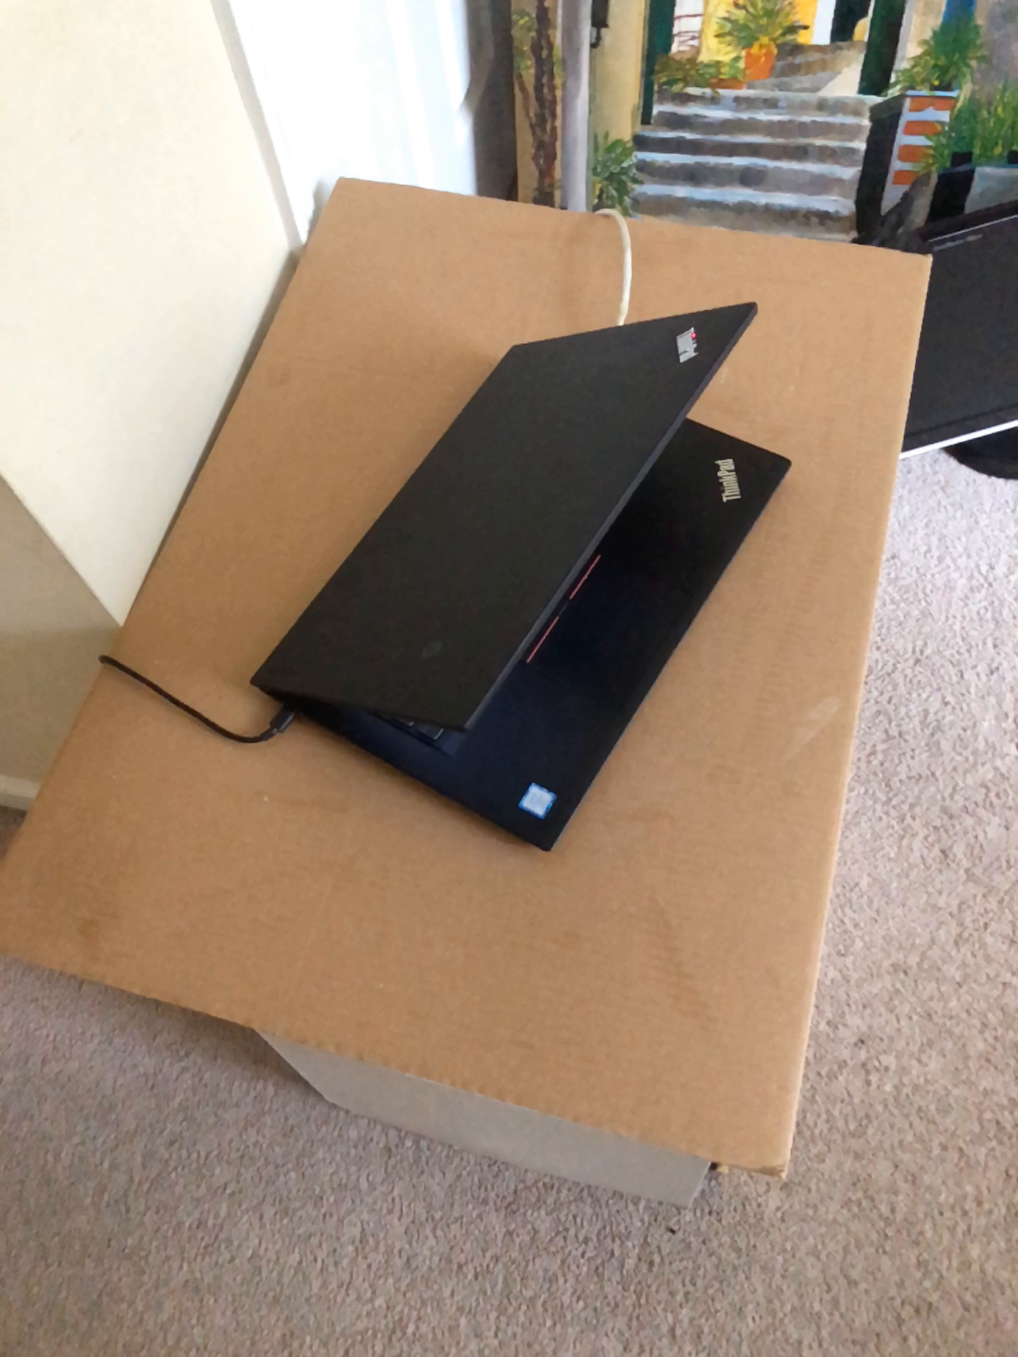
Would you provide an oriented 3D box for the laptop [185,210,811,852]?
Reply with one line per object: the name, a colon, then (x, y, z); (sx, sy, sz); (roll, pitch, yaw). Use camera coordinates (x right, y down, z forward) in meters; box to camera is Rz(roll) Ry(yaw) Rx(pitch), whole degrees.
laptop: (0.006, -0.106, 0.717); (0.232, 0.140, 0.335); (26, 68, 20)
